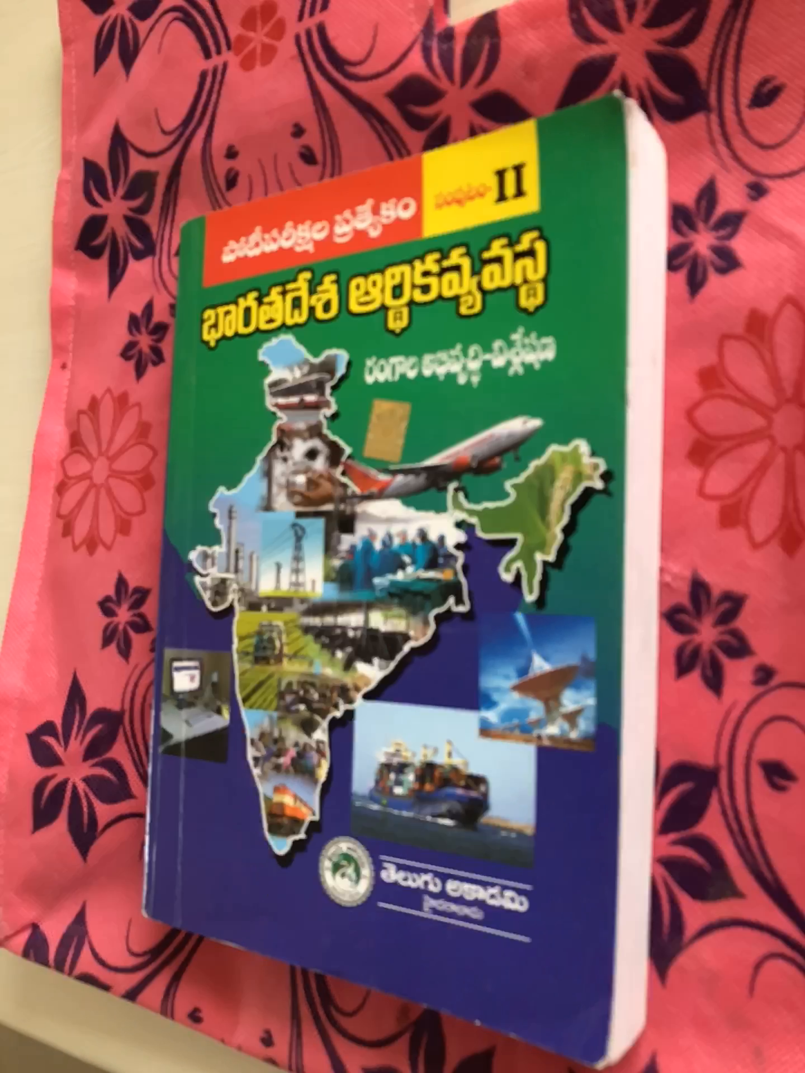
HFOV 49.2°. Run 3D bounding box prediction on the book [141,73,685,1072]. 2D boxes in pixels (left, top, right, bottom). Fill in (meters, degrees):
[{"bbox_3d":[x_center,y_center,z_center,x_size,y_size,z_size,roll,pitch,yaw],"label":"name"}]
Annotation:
[{"bbox_3d":[-0.004,0.009,0.310,0.191,0.040,0.280,0,86,31],"label":"book"}]
